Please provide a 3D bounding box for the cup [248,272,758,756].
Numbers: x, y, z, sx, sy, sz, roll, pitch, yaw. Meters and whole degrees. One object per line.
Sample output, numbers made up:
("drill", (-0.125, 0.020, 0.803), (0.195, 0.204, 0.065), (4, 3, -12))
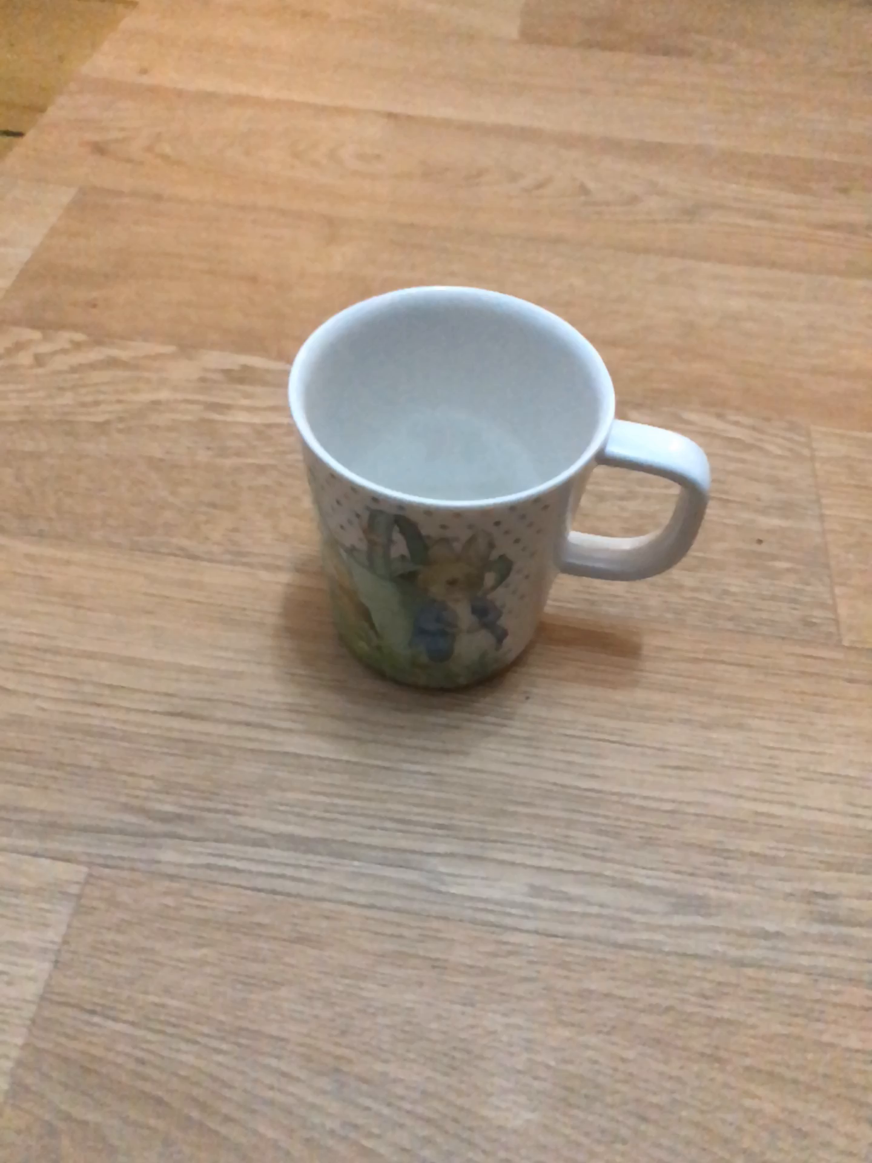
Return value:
("cup", (0.019, -0.018, 0.261), (0.110, 0.080, 0.080), (11, 52, 6))
